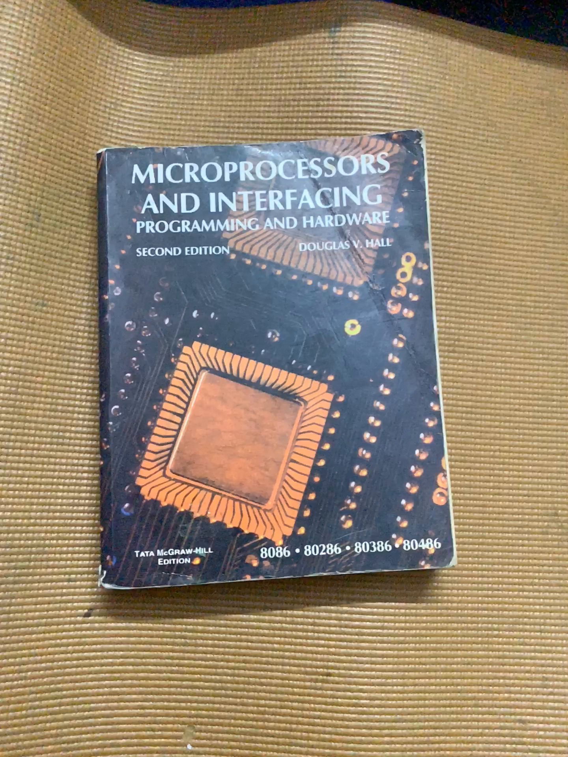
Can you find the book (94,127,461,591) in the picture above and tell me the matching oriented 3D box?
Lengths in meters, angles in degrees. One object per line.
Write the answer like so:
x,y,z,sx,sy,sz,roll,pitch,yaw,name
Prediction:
-0.011,-0.019,0.464,0.259,0.060,0.339,-2,83,1,book
